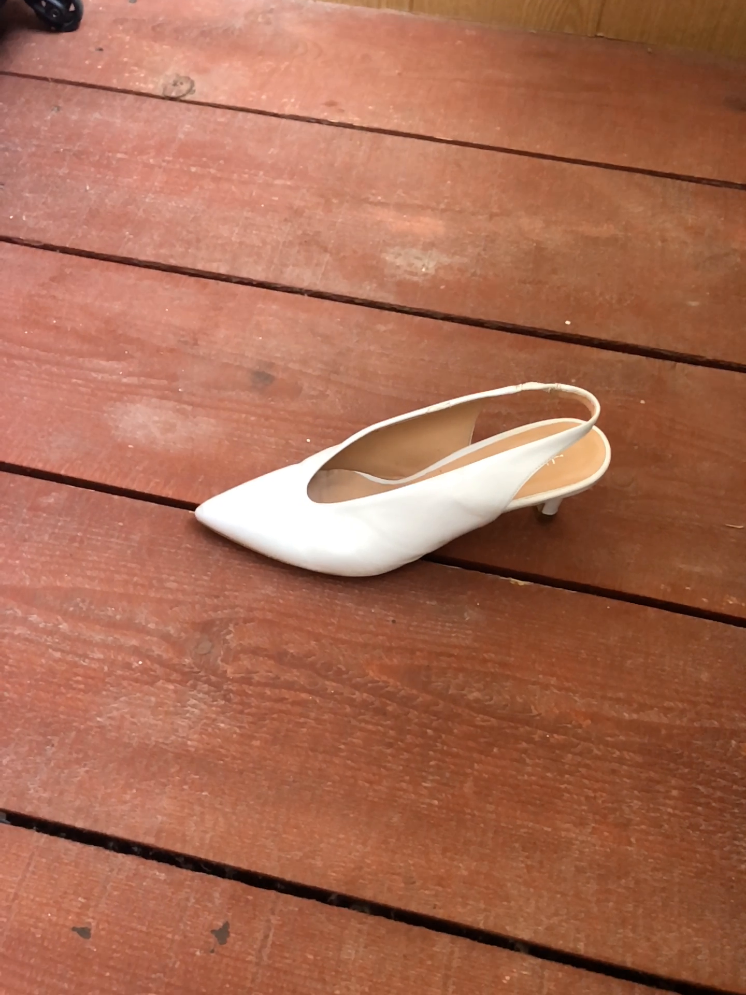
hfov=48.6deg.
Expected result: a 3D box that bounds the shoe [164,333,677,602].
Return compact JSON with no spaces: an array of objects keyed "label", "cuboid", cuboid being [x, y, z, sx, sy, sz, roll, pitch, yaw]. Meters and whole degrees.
[{"label":"shoe","cuboid":[0.020,-0.015,0.445,0.240,0.080,0.100,-4,59,-2]}]
